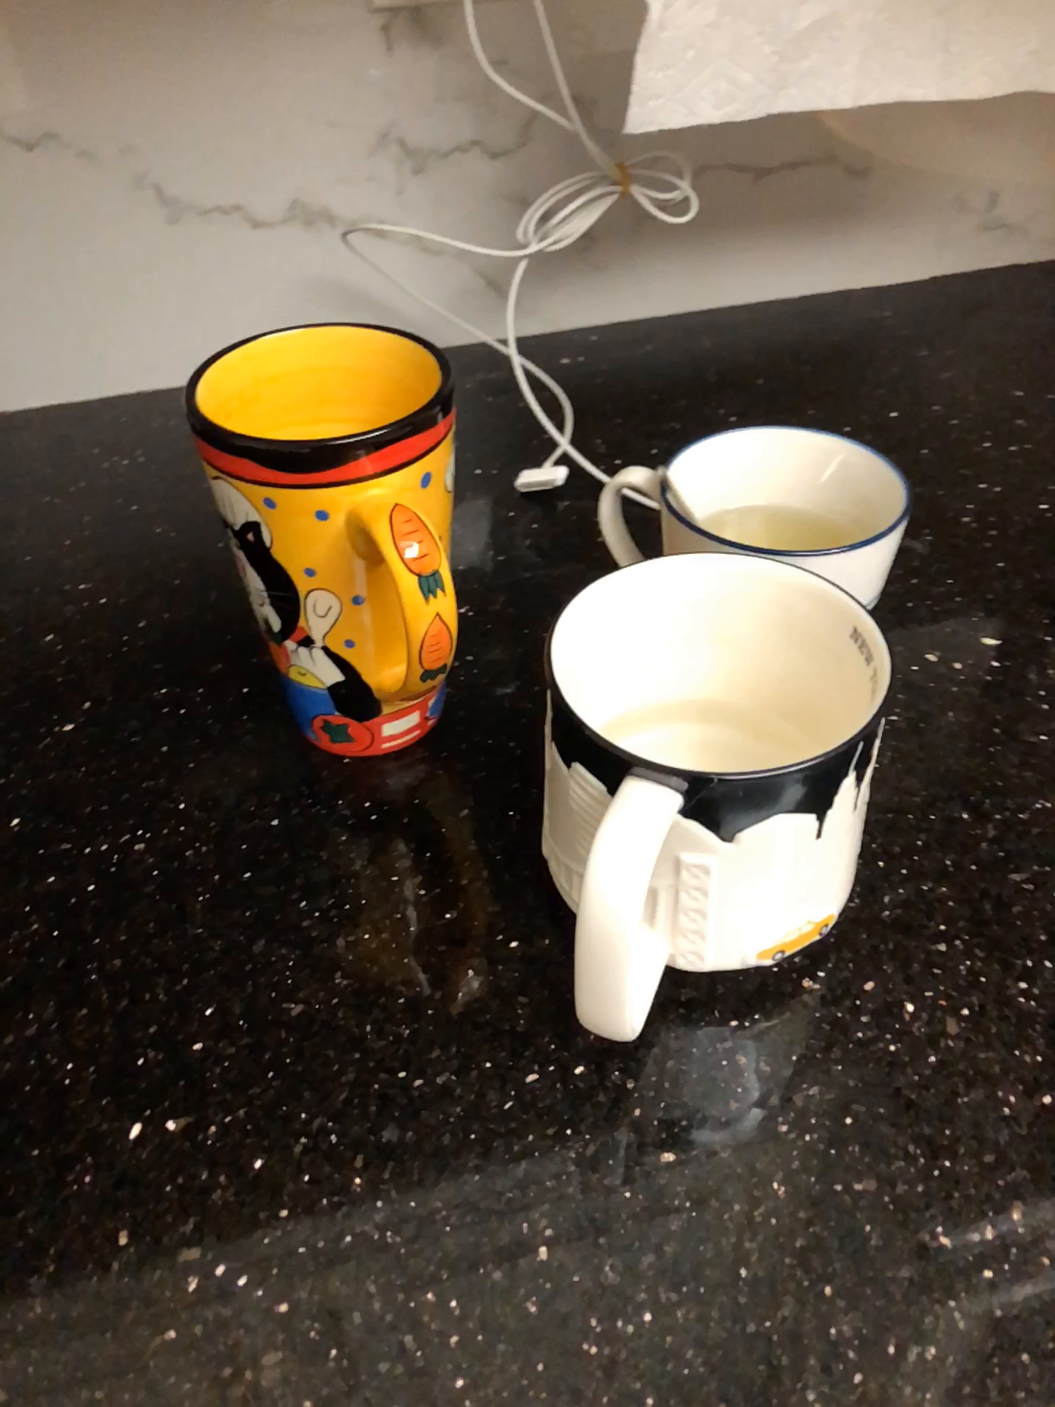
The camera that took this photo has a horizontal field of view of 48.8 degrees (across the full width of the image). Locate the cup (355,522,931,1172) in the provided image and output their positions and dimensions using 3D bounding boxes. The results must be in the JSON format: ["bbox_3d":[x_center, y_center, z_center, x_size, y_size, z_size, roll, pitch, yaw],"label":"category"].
[{"bbox_3d":[0.041,0.033,0.358,0.110,0.089,0.151,19,46,22],"label":"cup"}]

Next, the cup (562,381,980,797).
[{"bbox_3d":[0.084,-0.047,0.437,0.120,0.089,0.080,33,52,33],"label":"cup"}]

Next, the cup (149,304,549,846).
[{"bbox_3d":[-0.061,-0.049,0.414,0.090,0.129,0.121,-19,45,-18],"label":"cup"}]
